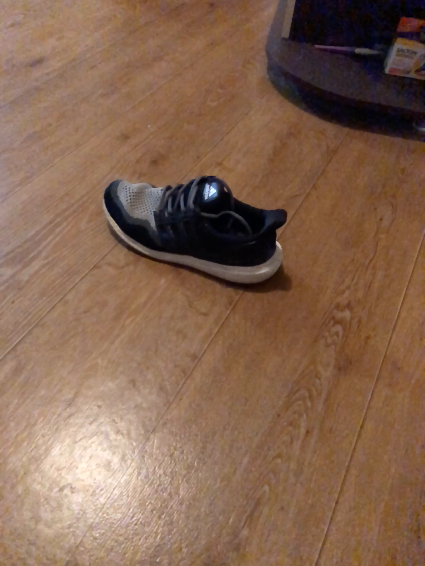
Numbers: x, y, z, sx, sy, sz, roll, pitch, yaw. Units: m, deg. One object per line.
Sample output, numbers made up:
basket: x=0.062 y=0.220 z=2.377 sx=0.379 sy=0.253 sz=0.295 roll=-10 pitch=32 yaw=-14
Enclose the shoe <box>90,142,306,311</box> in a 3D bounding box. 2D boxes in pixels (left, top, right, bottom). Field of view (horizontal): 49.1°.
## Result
shoe: x=-0.023 y=-0.086 z=0.661 sx=0.270 sy=0.099 sz=0.114 roll=25 pitch=51 yaw=15
